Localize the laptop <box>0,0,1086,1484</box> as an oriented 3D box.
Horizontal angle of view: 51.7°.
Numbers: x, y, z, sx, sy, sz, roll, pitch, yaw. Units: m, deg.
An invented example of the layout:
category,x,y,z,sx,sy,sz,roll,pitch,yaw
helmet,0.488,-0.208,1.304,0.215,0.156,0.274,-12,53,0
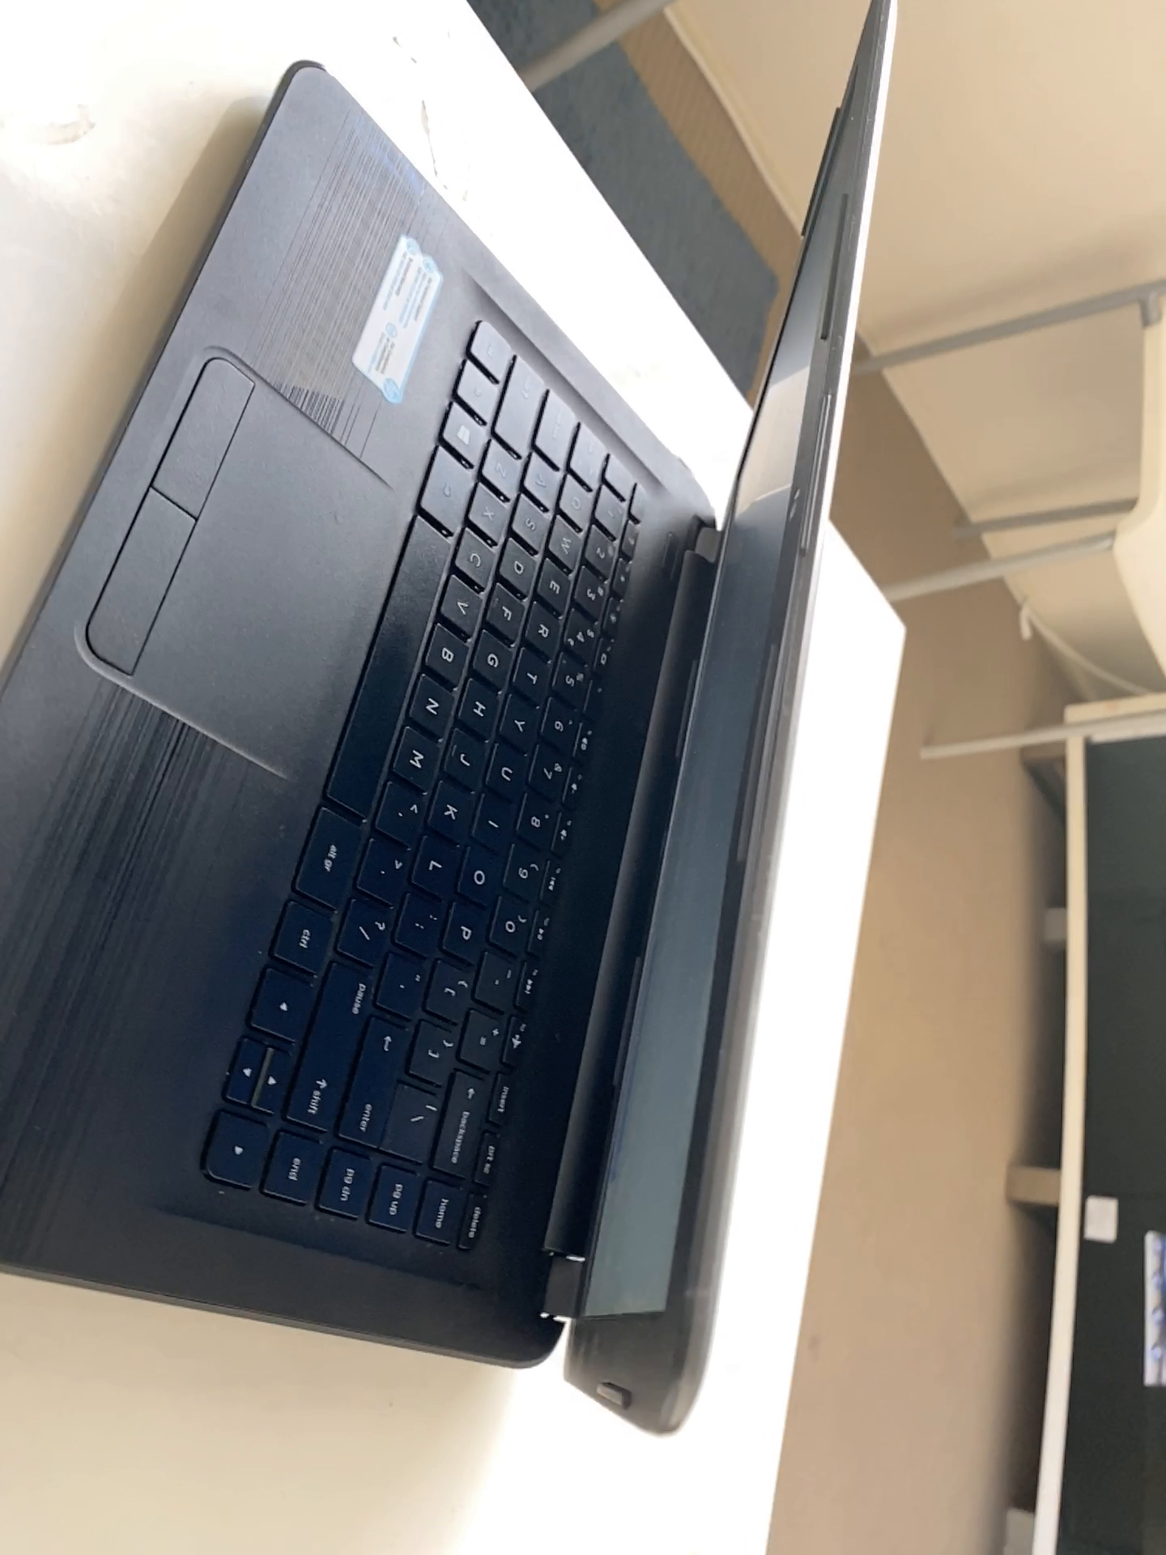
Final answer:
category,x,y,z,sx,sy,sz,roll,pitch,yaw
laptop,0.013,-0.029,0.314,0.226,0.154,0.336,37,55,-42
